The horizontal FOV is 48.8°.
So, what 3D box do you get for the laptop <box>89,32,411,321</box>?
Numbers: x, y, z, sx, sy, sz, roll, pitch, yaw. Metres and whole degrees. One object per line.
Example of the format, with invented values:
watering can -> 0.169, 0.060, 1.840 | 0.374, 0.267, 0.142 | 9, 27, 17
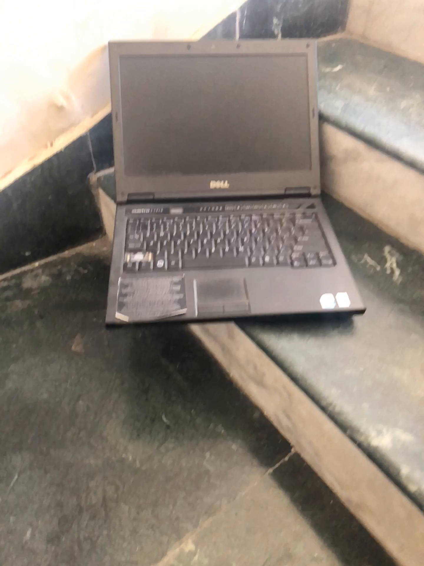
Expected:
laptop -> 0.021, -0.168, 0.622 | 0.302, 0.168, 0.389 | -2, 47, -4
